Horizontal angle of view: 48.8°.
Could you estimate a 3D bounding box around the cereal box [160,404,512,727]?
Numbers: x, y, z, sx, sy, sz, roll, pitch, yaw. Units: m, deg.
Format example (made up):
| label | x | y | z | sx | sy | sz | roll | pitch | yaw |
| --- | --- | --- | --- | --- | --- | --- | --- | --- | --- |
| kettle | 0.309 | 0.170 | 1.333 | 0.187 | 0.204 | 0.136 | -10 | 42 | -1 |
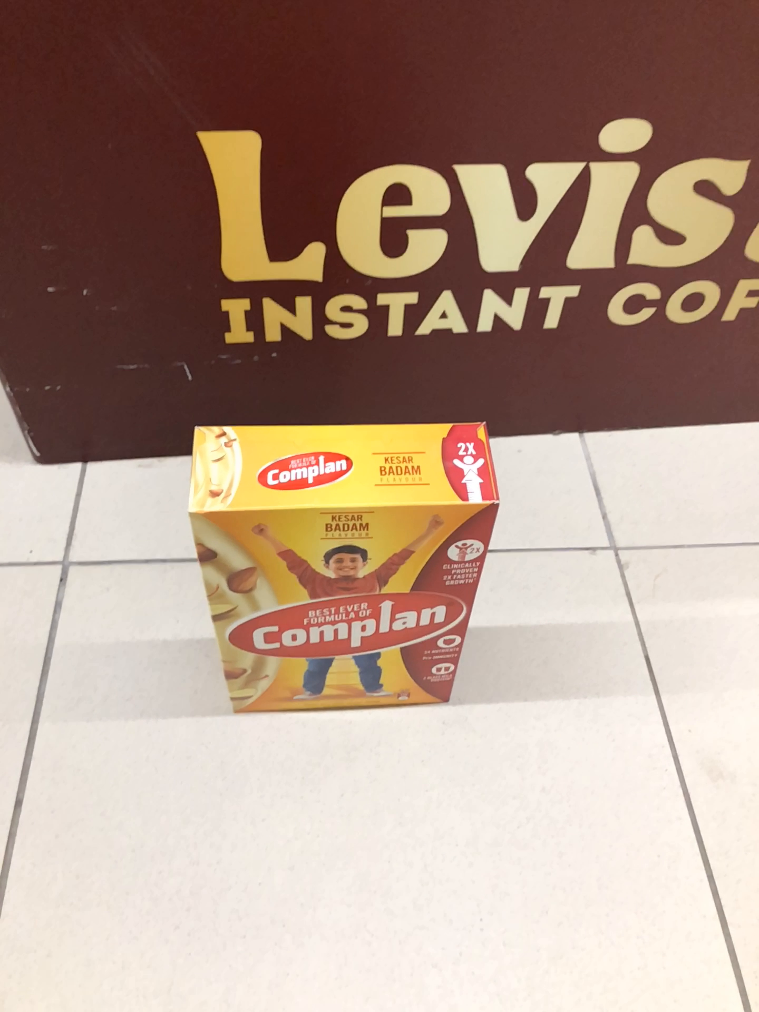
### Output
| label | x | y | z | sx | sy | sz | roll | pitch | yaw |
| --- | --- | --- | --- | --- | --- | --- | --- | --- | --- |
| cereal box | -0.024 | 0.045 | 0.462 | 0.150 | 0.219 | 0.060 | -2 | 52 | -5 |
